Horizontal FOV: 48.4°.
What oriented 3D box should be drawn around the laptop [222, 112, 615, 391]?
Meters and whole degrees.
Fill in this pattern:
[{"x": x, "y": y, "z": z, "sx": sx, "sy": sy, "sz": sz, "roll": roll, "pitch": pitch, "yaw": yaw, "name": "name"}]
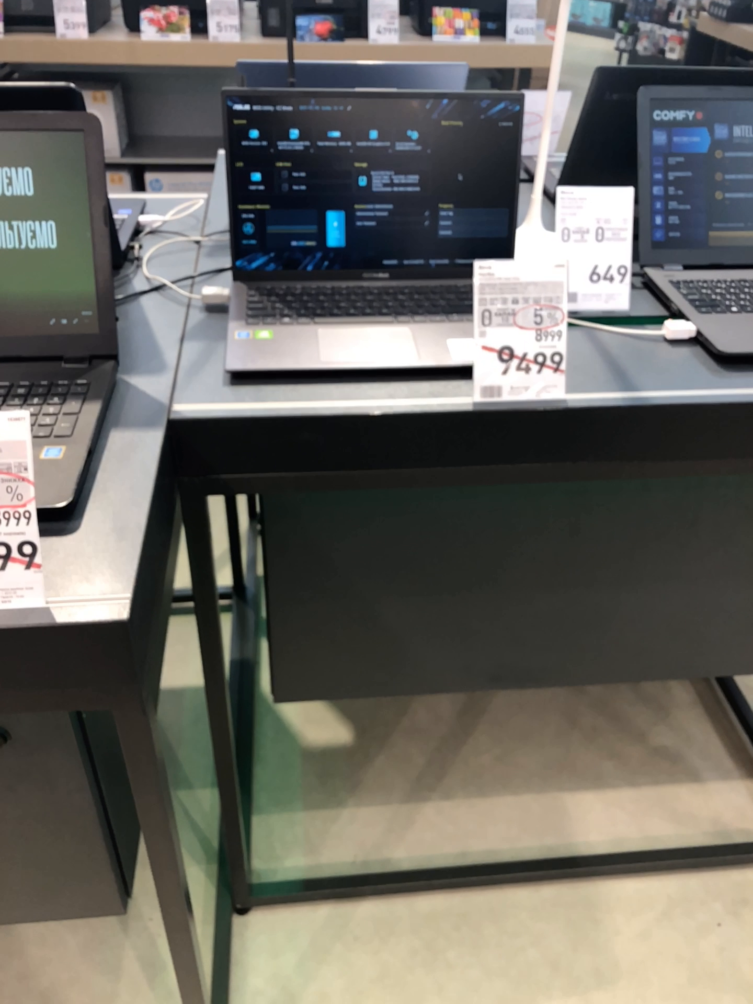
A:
[{"x": 0.023, "y": -0.288, "z": 0.925, "sx": 0.355, "sy": 0.200, "sz": 0.288, "roll": -2, "pitch": 36, "yaw": -4, "name": "laptop"}]
